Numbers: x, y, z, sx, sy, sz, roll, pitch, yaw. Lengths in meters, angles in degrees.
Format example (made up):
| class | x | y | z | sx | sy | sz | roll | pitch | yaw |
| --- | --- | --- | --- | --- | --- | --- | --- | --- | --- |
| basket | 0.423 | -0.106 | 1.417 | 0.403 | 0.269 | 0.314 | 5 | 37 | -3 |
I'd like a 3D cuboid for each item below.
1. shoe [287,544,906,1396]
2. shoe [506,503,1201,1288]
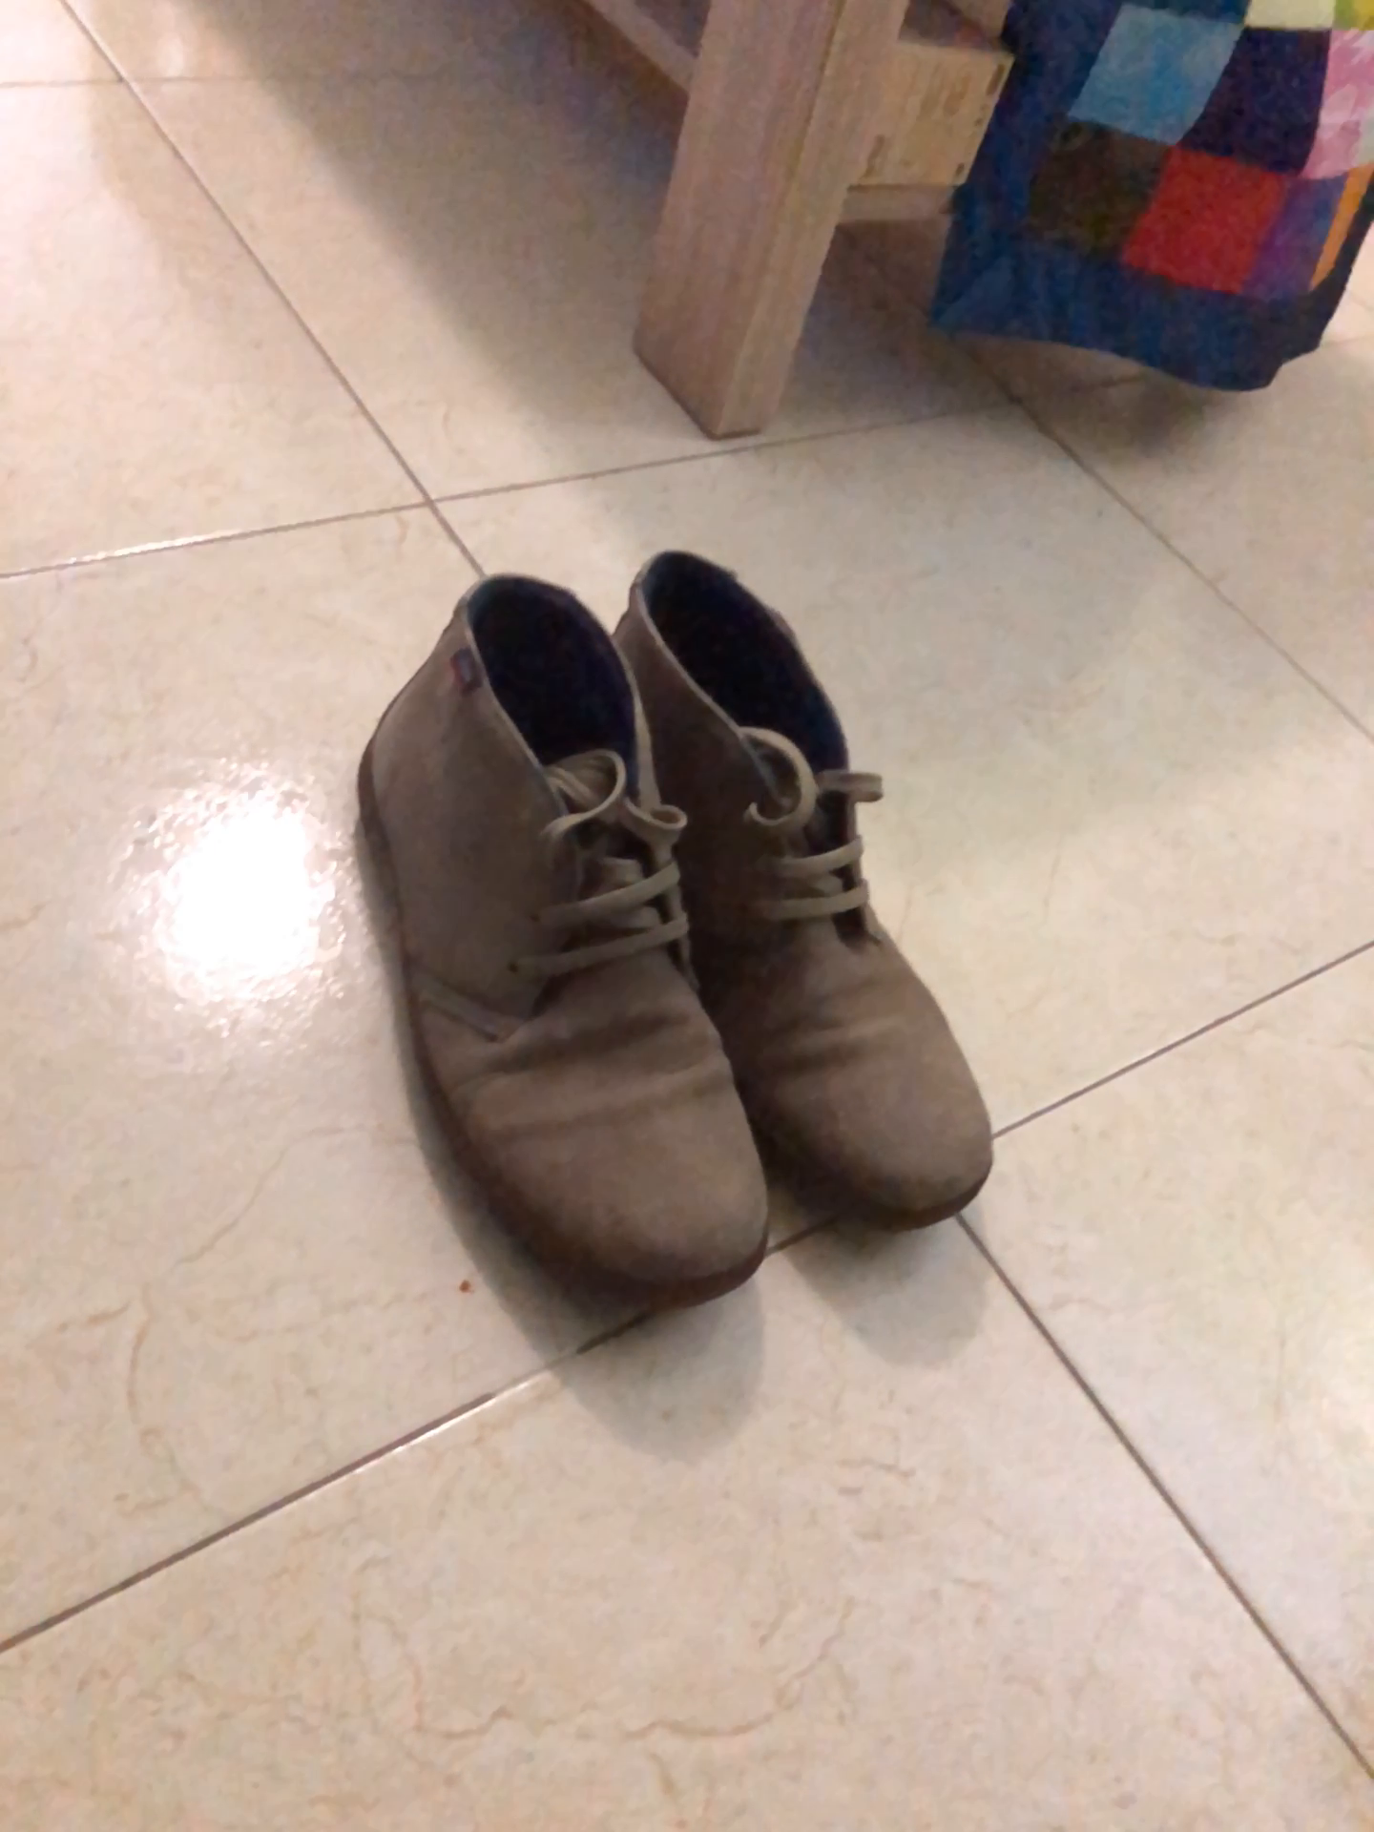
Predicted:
| class | x | y | z | sx | sy | sz | roll | pitch | yaw |
| --- | --- | --- | --- | --- | --- | --- | --- | --- | --- |
| shoe | -0.052 | 0.006 | 0.555 | 0.110 | 0.120 | 0.280 | -11 | 56 | -25 |
| shoe | 0.046 | -0.021 | 0.601 | 0.120 | 0.120 | 0.280 | -14 | 57 | -27 |
